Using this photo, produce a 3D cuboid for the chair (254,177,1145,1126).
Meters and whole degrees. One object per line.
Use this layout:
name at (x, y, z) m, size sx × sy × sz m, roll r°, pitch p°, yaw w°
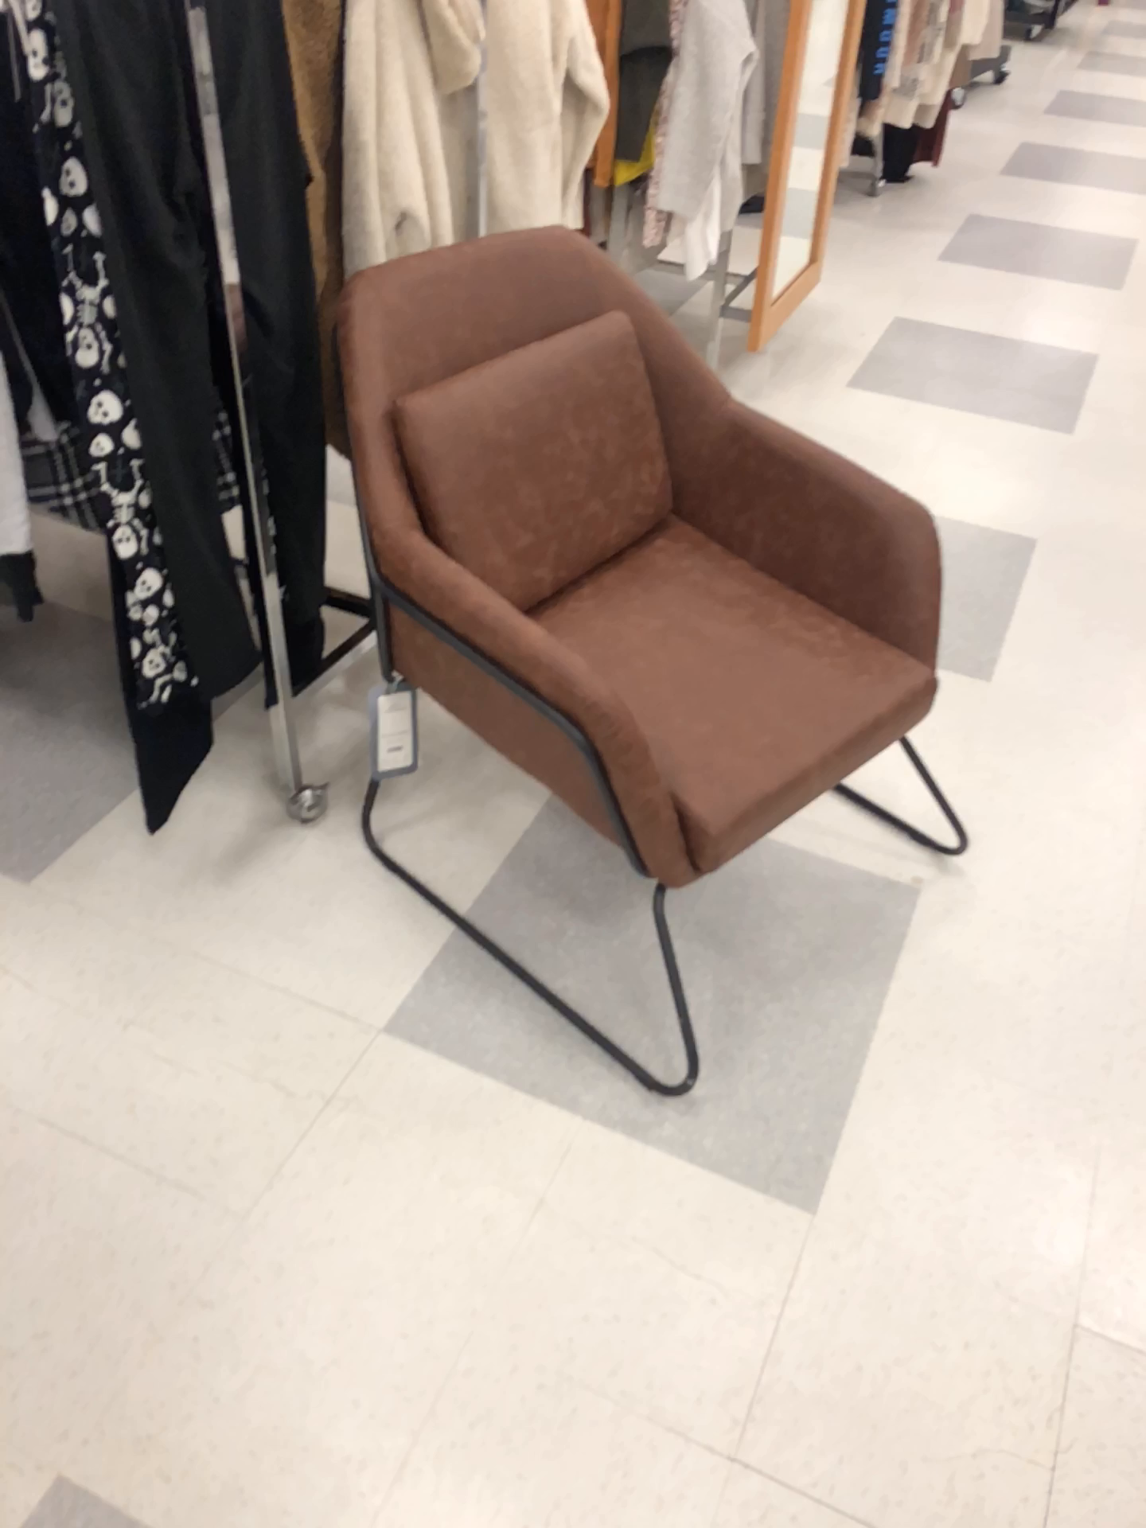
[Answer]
chair at (0.141, -0.208, 1.716) m, size 0.738 × 0.849 × 0.760 m, roll -31°, pitch 50°, yaw -34°
